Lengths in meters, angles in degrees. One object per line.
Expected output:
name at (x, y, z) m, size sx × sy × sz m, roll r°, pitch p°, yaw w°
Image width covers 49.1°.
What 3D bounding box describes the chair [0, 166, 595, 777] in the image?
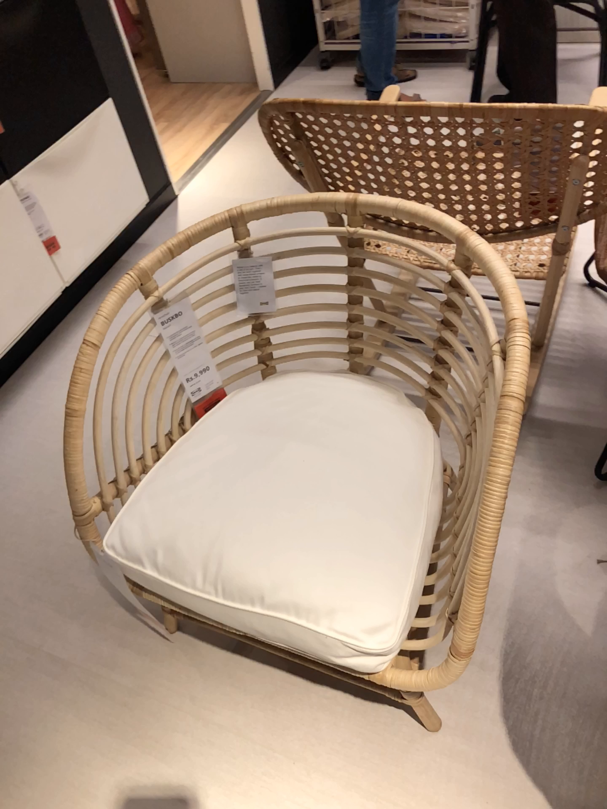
chair at (0.040, 0.094, 1.304) m, size 0.782 × 0.775 × 0.703 m, roll 13°, pitch 52°, yaw 24°
